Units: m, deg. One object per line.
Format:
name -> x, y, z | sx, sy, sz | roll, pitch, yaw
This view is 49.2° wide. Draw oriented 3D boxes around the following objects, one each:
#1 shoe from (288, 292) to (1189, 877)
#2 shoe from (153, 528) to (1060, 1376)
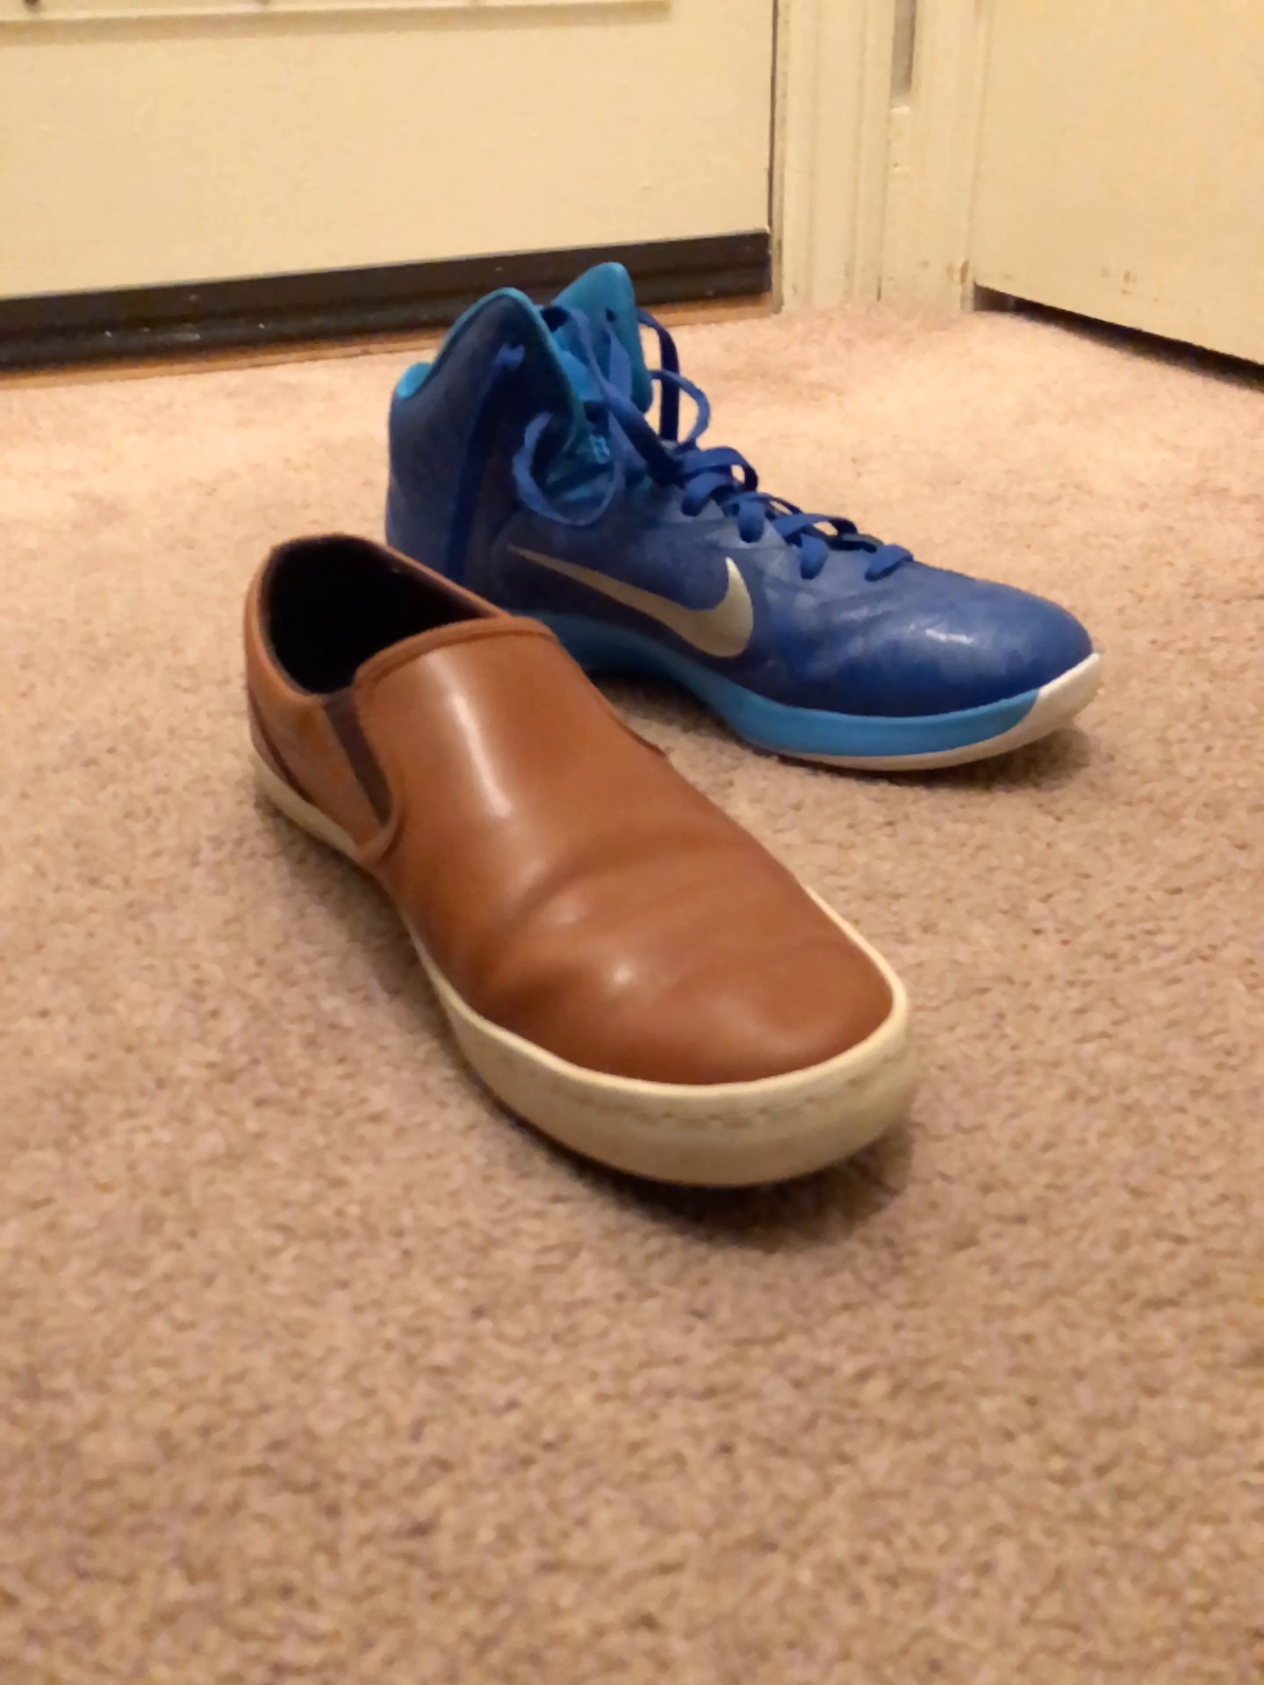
shoe -> 0.031, -0.112, 0.515 | 0.292, 0.142, 0.116 | 16, 35, 27
shoe -> -0.031, -0.002, 0.386 | 0.105, 0.083, 0.283 | -20, 35, -28
